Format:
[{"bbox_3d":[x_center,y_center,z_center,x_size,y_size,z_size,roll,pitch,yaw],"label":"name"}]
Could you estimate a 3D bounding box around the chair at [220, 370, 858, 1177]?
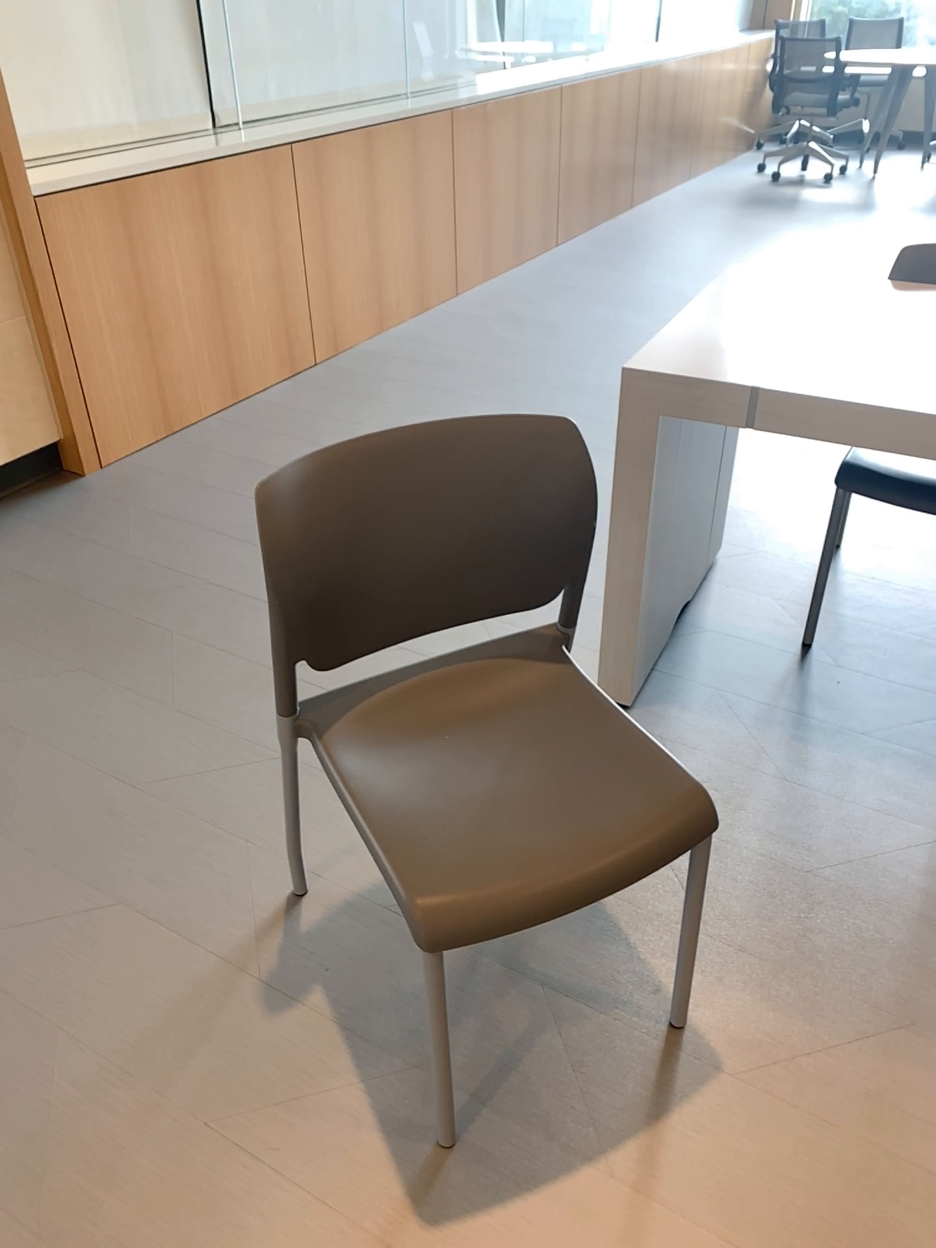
[{"bbox_3d":[0.049,0.165,1.305,0.501,0.783,0.574,-17,37,-23],"label":"chair"}]
